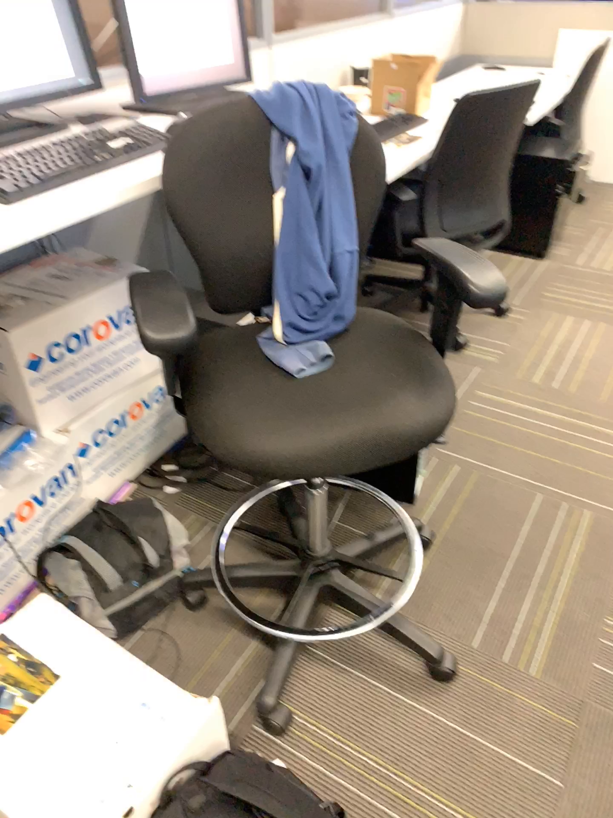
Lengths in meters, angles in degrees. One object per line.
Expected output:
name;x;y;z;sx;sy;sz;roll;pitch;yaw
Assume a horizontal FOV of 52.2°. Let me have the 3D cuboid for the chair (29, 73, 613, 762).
chair;0.004;-0.027;1.322;0.740;1.063;0.846;-8;37;-10
